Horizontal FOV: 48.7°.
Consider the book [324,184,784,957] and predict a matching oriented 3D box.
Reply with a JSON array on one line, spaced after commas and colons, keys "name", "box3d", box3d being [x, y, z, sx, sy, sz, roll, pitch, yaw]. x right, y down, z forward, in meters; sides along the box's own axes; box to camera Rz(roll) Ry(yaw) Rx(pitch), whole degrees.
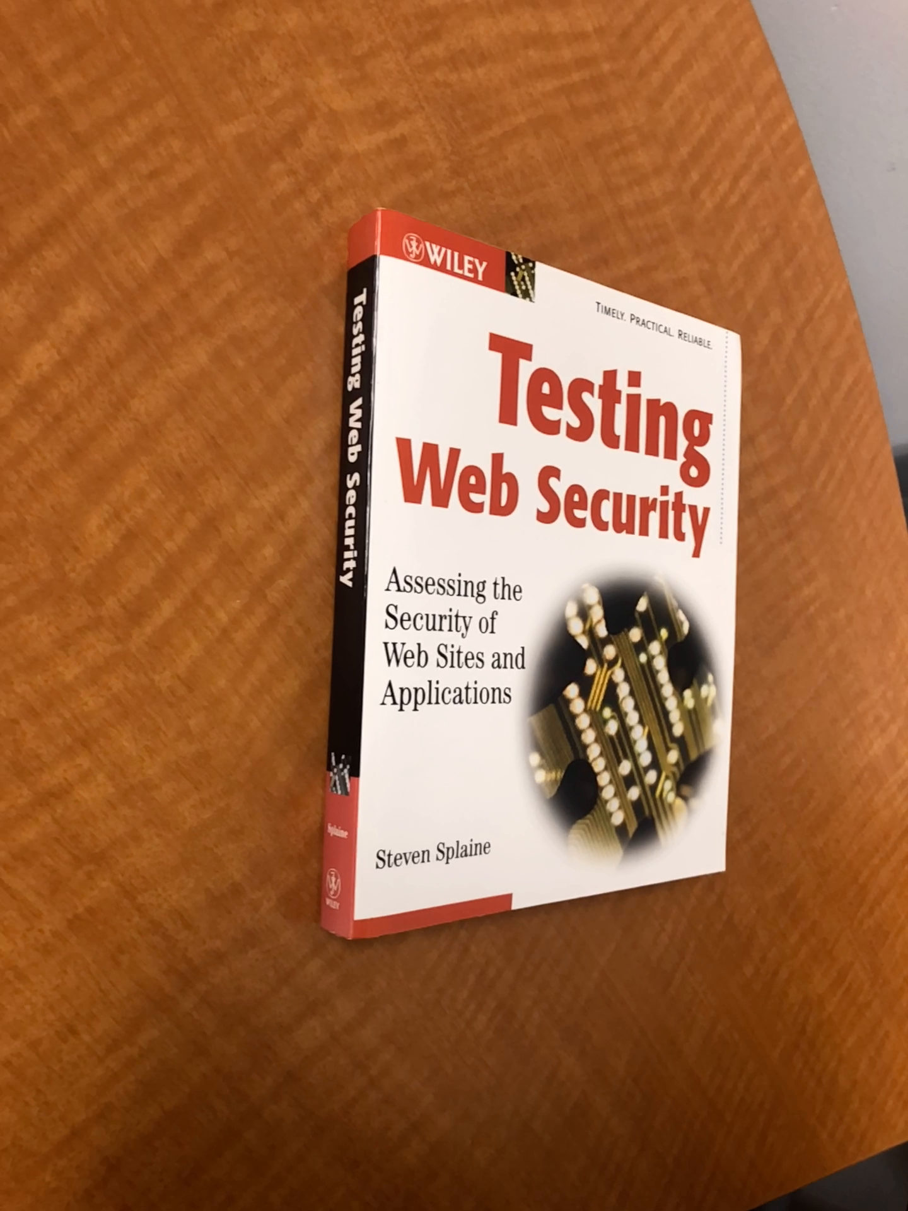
[{"name": "book", "box3d": [0.050, -0.007, 0.372, 0.201, 0.030, 0.230, 4, 87, -39]}]
